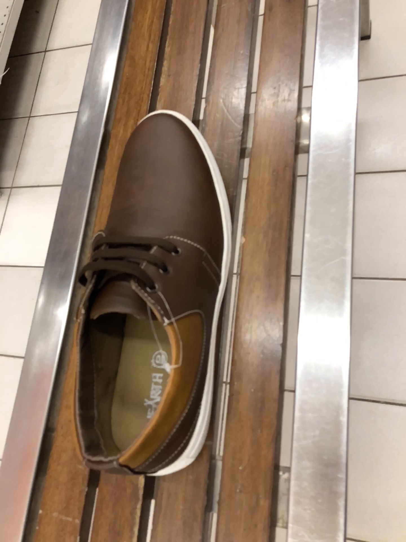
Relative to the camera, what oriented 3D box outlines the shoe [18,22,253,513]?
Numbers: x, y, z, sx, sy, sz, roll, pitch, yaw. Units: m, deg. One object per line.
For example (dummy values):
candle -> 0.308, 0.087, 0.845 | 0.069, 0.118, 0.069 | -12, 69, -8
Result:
shoe -> -0.031, -0.008, 0.340 | 0.109, 0.115, 0.312 | -3, 73, 20
